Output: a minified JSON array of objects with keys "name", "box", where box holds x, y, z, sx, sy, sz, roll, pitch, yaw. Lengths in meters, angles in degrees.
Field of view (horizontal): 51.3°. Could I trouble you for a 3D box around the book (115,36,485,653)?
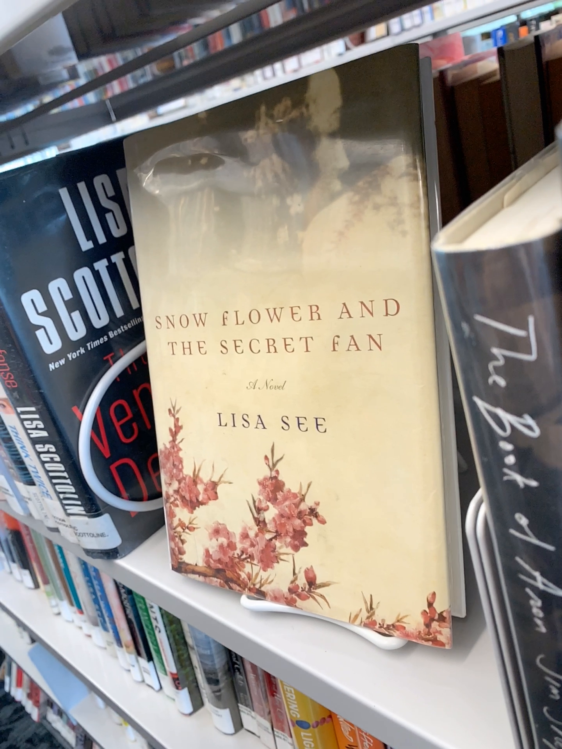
[{"name":"book","box":[0.004,-0.008,0.281,0.163,0.231,0.041,0,8,35]}]
